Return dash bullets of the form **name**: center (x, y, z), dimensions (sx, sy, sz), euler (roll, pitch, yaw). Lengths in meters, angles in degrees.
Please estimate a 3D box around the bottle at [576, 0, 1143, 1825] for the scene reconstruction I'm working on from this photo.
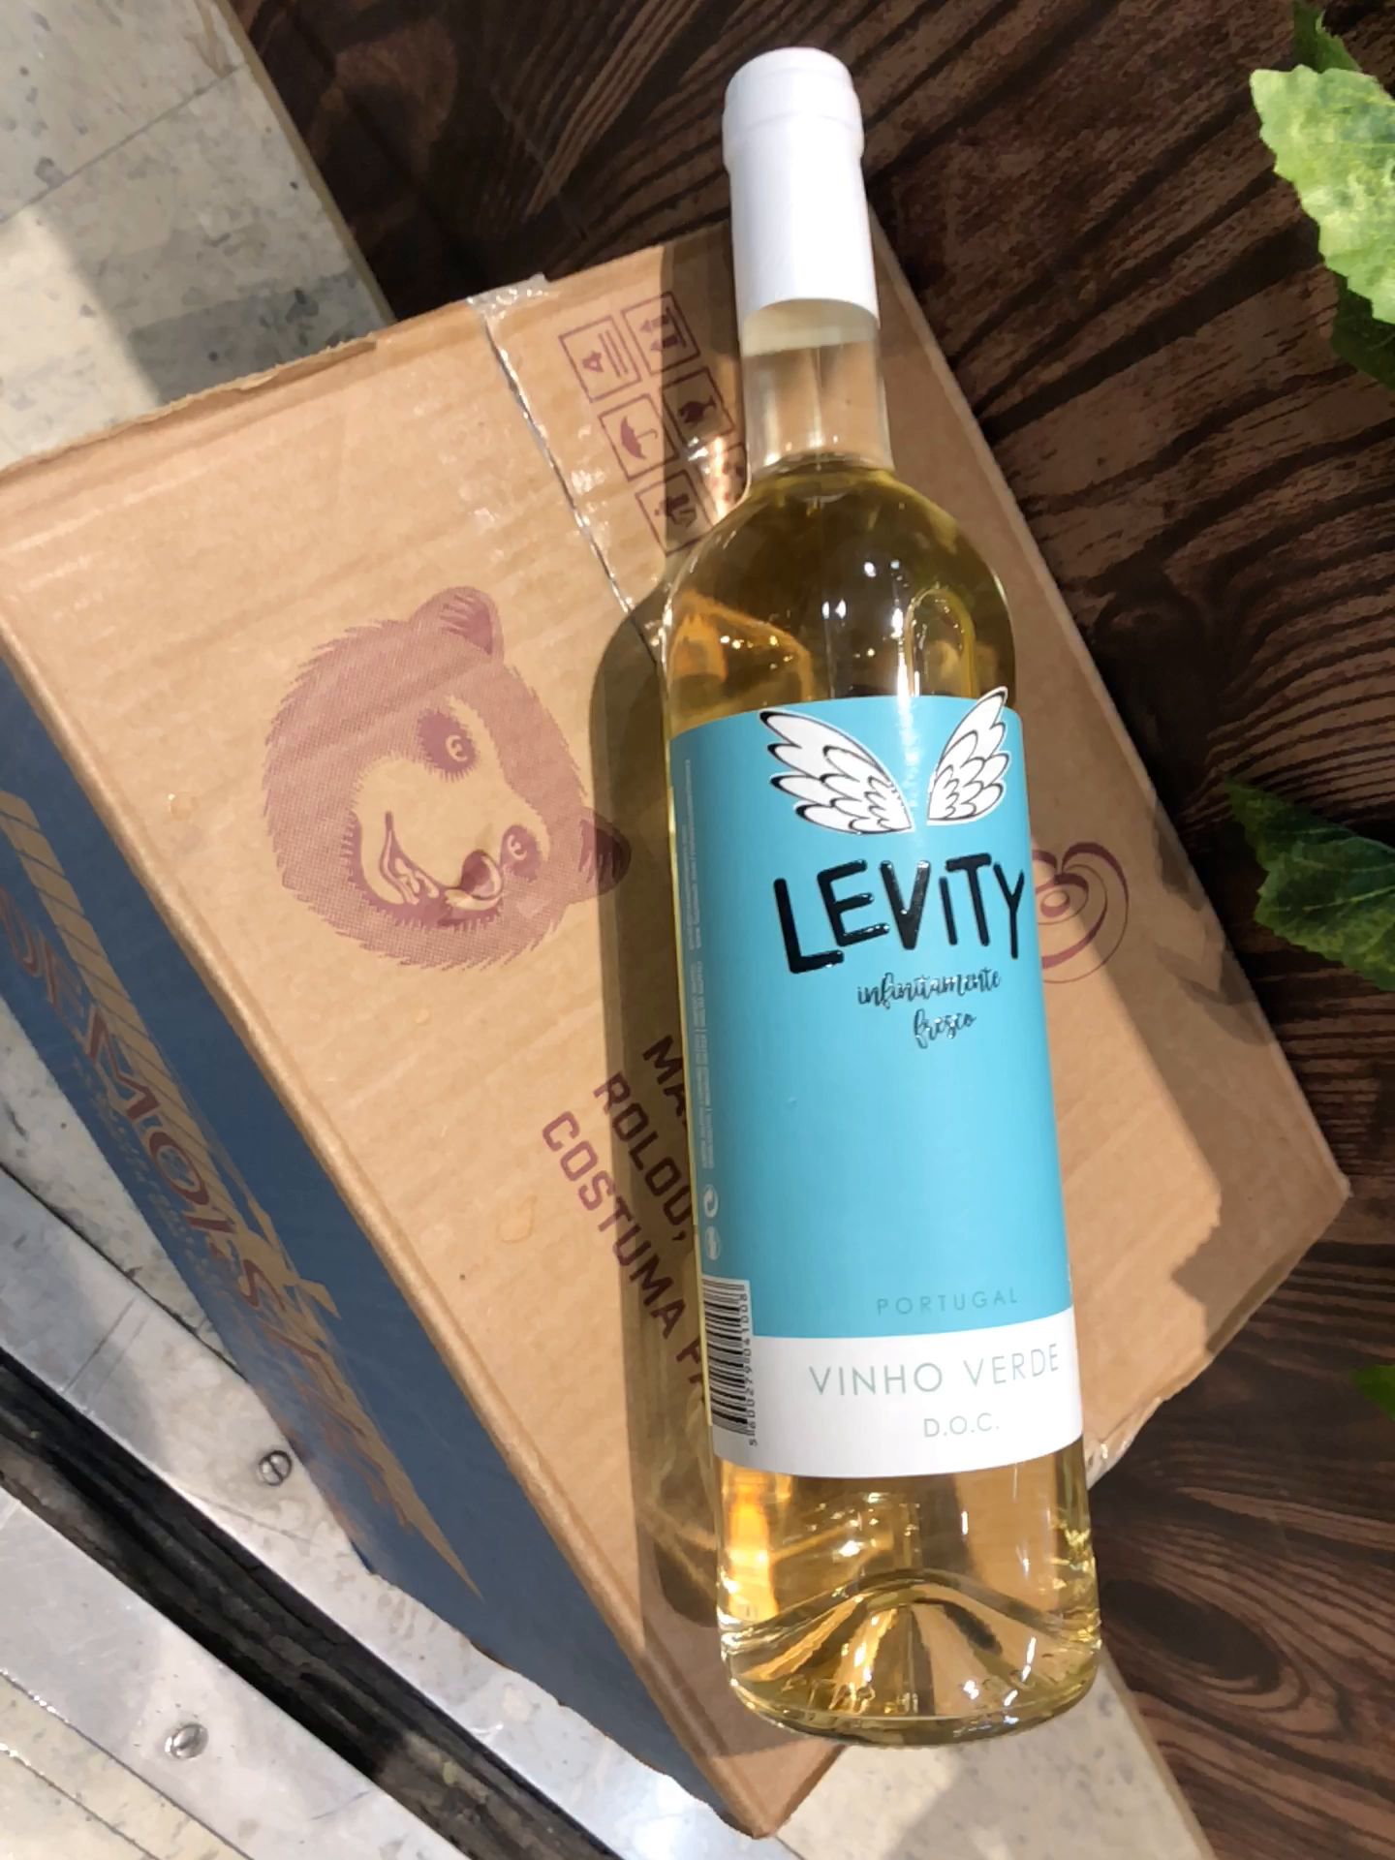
- **bottle**: center (0.029, -0.026, 0.298), dimensions (0.080, 0.050, 0.340), euler (0, 85, -31)
